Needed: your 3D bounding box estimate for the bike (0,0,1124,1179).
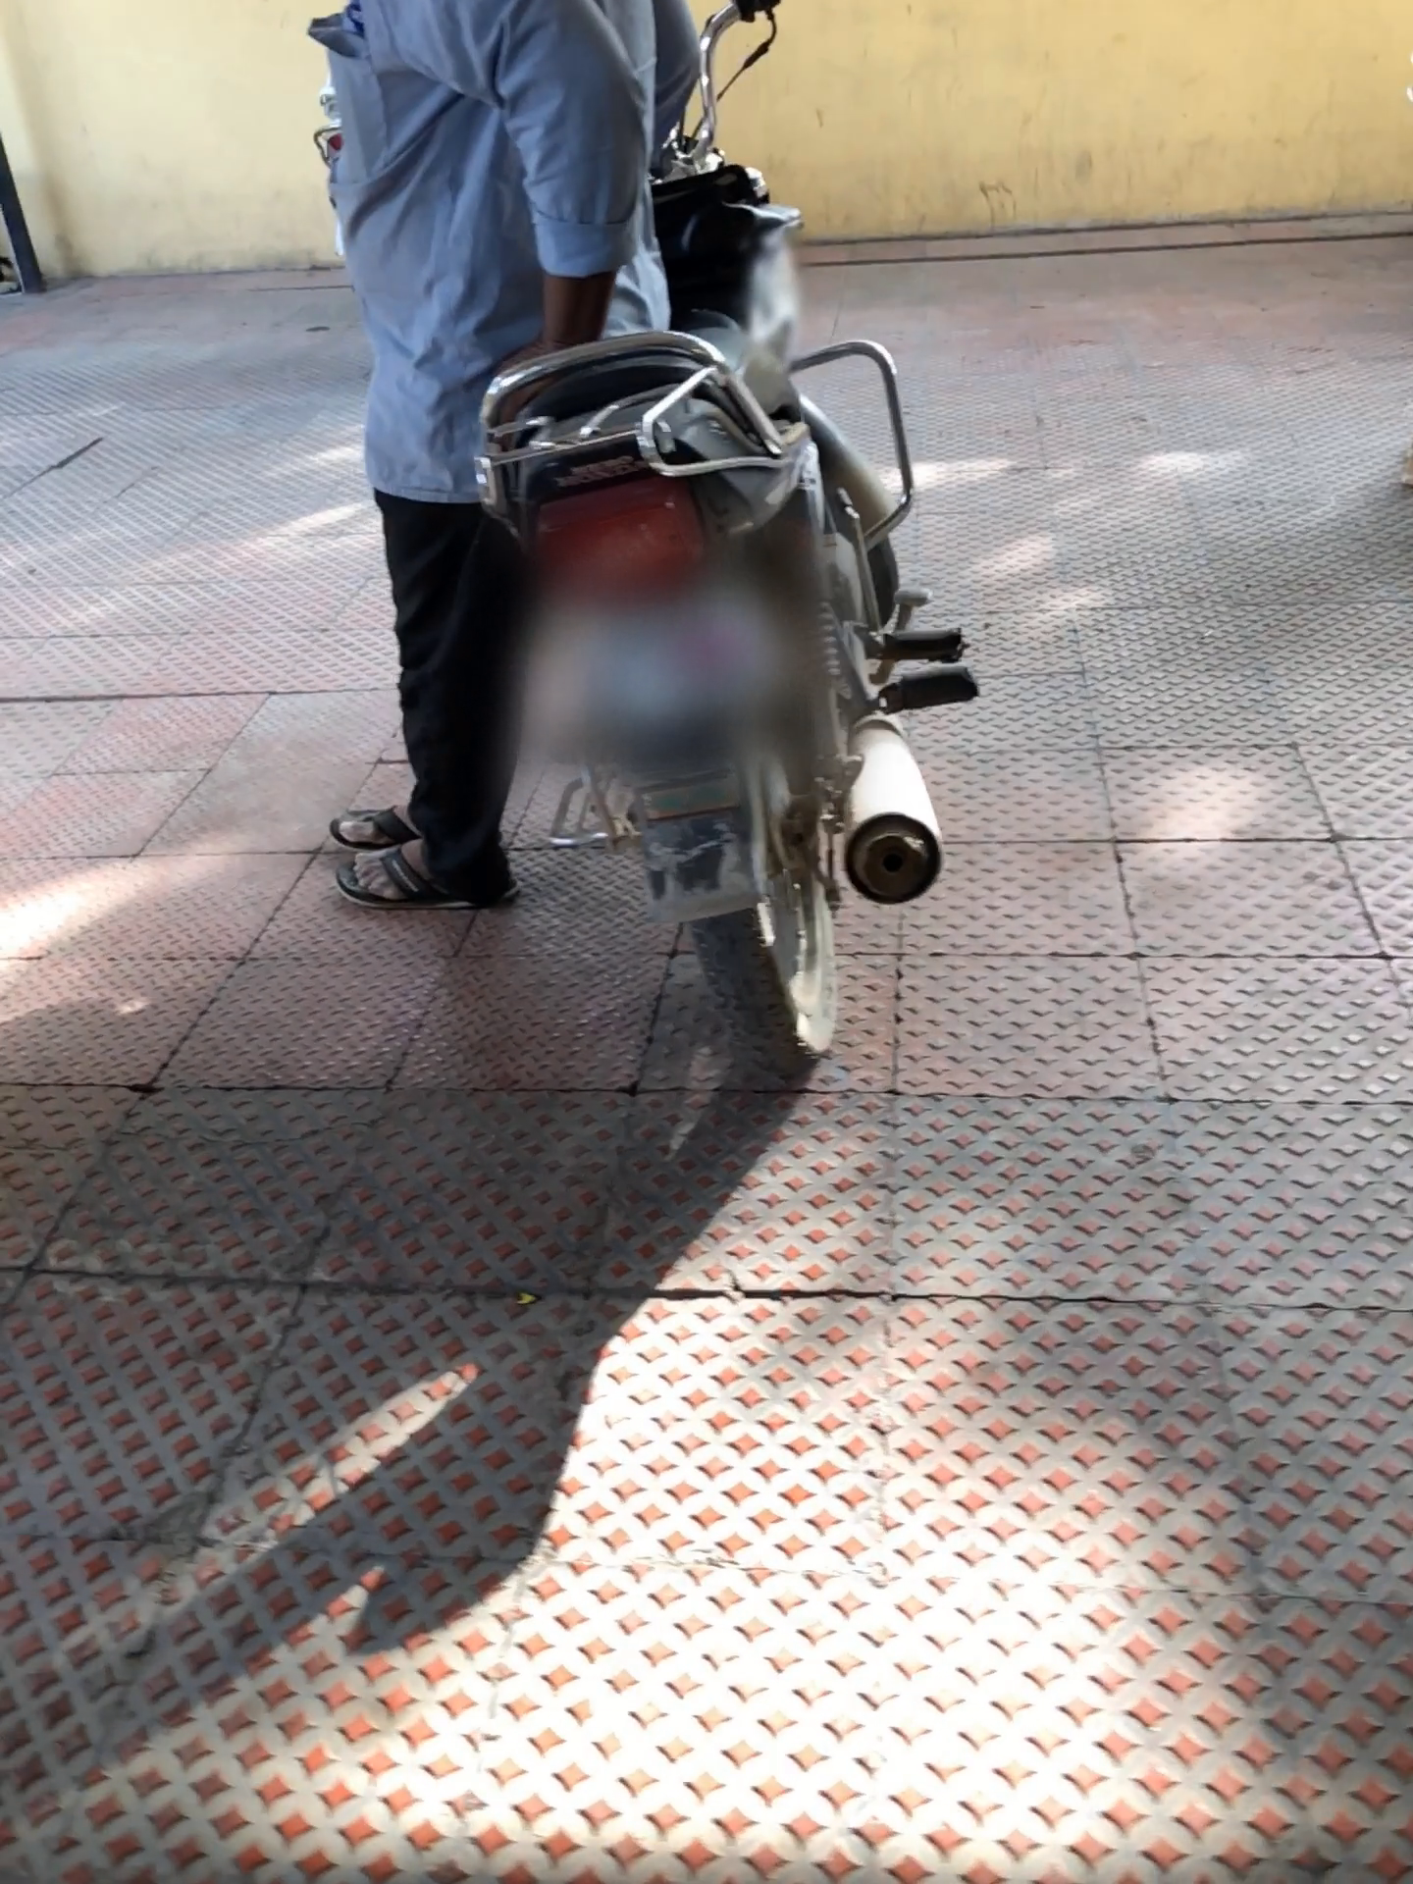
[{"bbox_3d":[-0.071,-0.590,1.900,0.817,1.063,1.307,-3,35,3],"label":"bike"}]
